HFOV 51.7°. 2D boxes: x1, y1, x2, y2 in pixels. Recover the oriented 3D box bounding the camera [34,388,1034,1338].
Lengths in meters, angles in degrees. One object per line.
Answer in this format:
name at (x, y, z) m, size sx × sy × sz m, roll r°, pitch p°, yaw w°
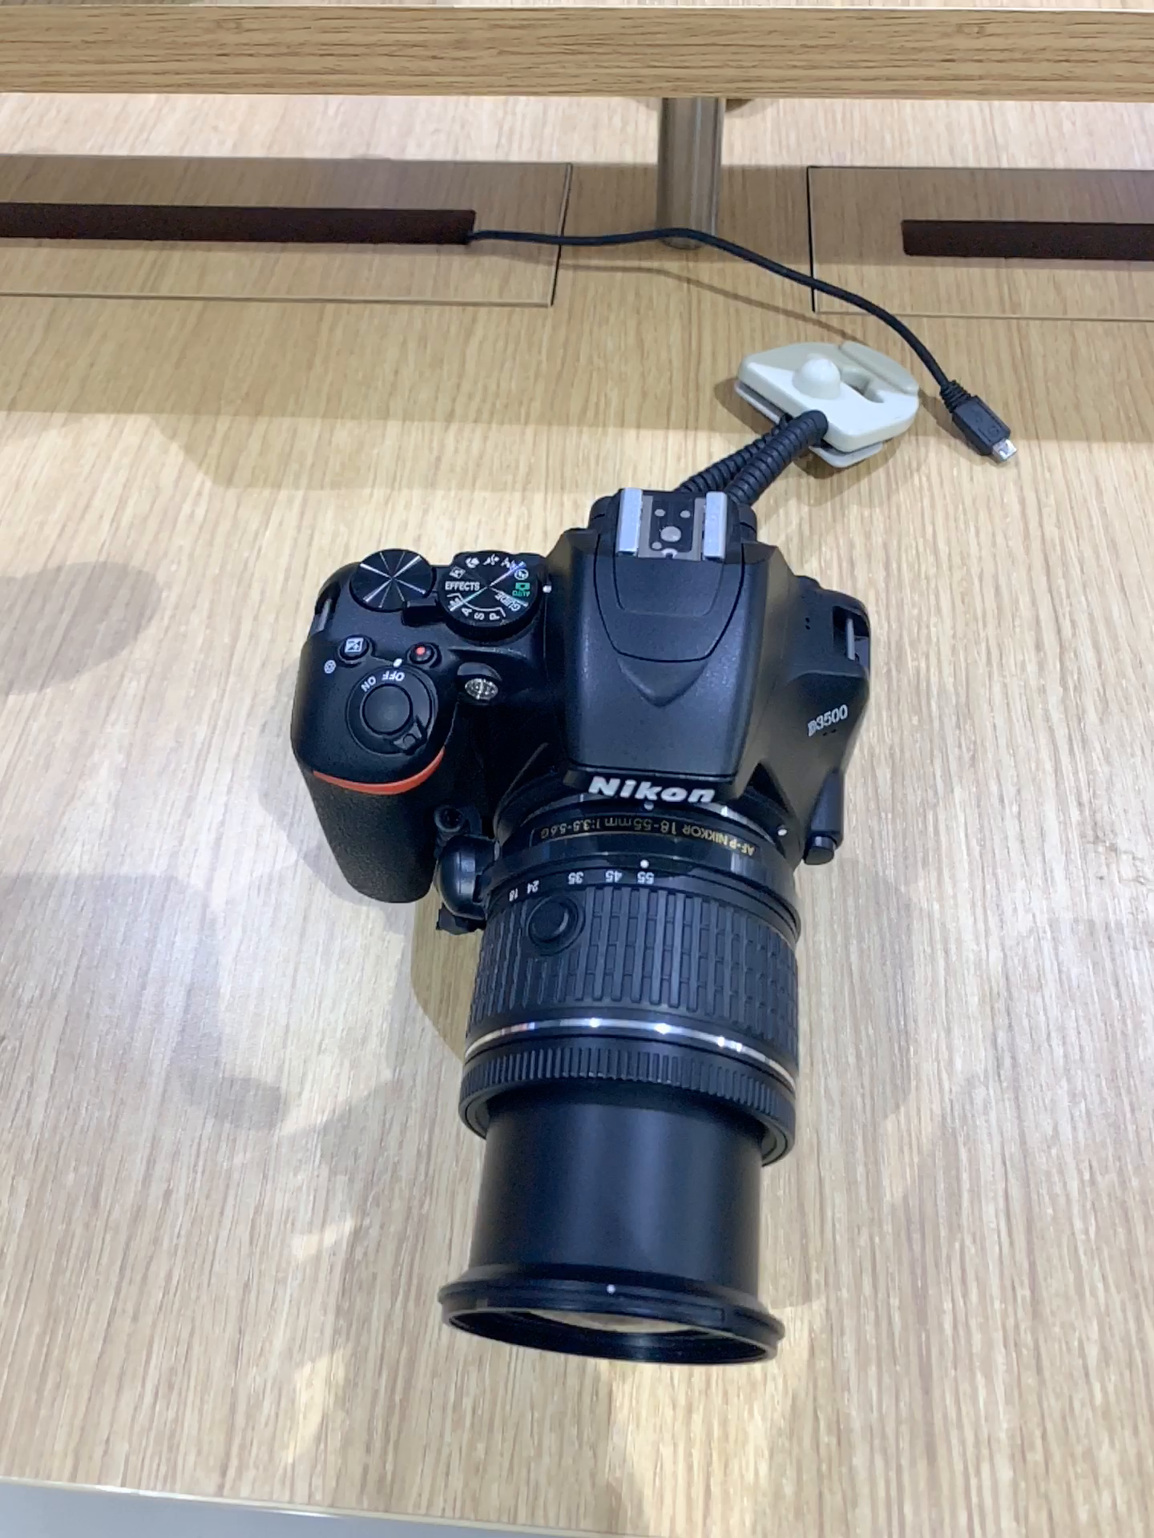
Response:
camera at (-0.001, 0.018, 0.215) m, size 0.115 × 0.100 × 0.136 m, roll 2°, pitch 58°, yaw 4°
